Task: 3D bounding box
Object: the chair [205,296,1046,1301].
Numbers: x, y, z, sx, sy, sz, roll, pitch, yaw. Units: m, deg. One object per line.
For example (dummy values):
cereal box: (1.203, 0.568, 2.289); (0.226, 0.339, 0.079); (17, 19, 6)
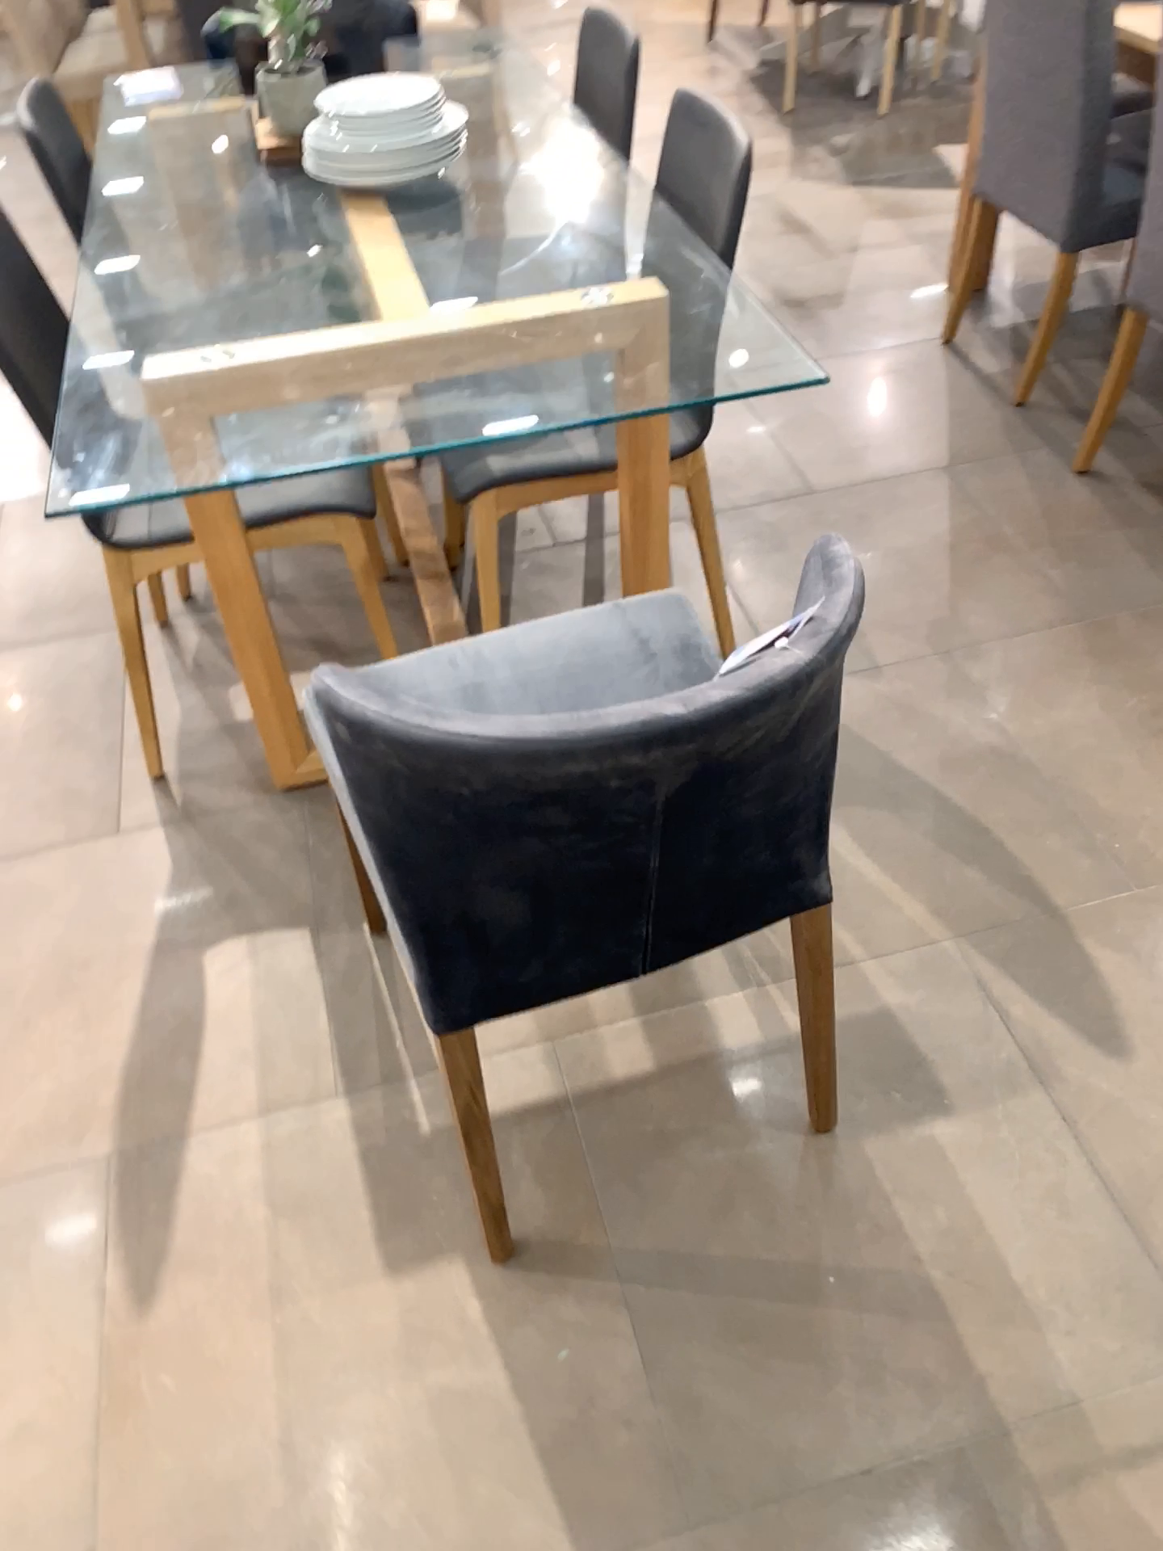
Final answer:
chair: (0.004, 0.028, 1.321); (0.577, 0.805, 0.619); (-14, 44, -10)
